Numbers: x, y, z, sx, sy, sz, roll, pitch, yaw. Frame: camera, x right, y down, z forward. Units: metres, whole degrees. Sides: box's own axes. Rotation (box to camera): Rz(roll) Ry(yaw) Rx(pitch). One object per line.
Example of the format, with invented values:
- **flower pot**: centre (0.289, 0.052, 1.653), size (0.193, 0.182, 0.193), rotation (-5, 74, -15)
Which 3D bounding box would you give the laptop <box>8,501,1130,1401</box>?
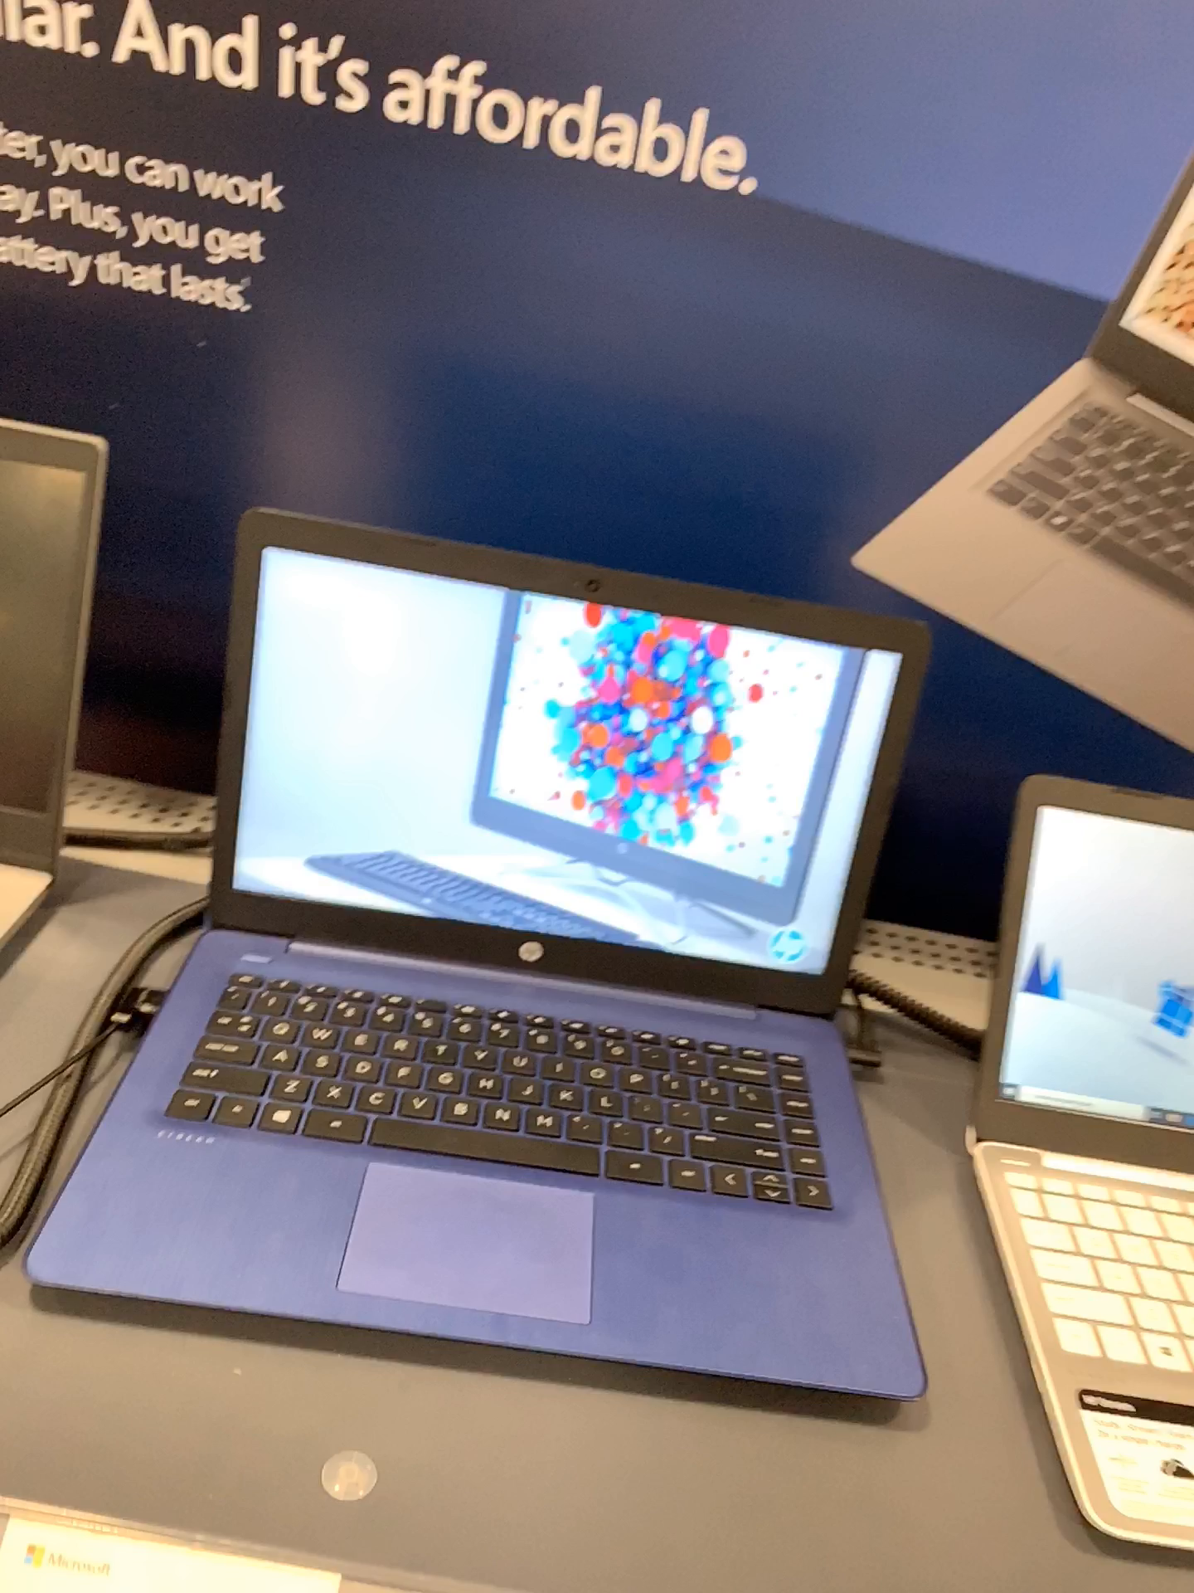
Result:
- **laptop**: centre (-0.019, 0.045, 0.506), size (0.322, 0.208, 0.253), rotation (10, 28, -5)
